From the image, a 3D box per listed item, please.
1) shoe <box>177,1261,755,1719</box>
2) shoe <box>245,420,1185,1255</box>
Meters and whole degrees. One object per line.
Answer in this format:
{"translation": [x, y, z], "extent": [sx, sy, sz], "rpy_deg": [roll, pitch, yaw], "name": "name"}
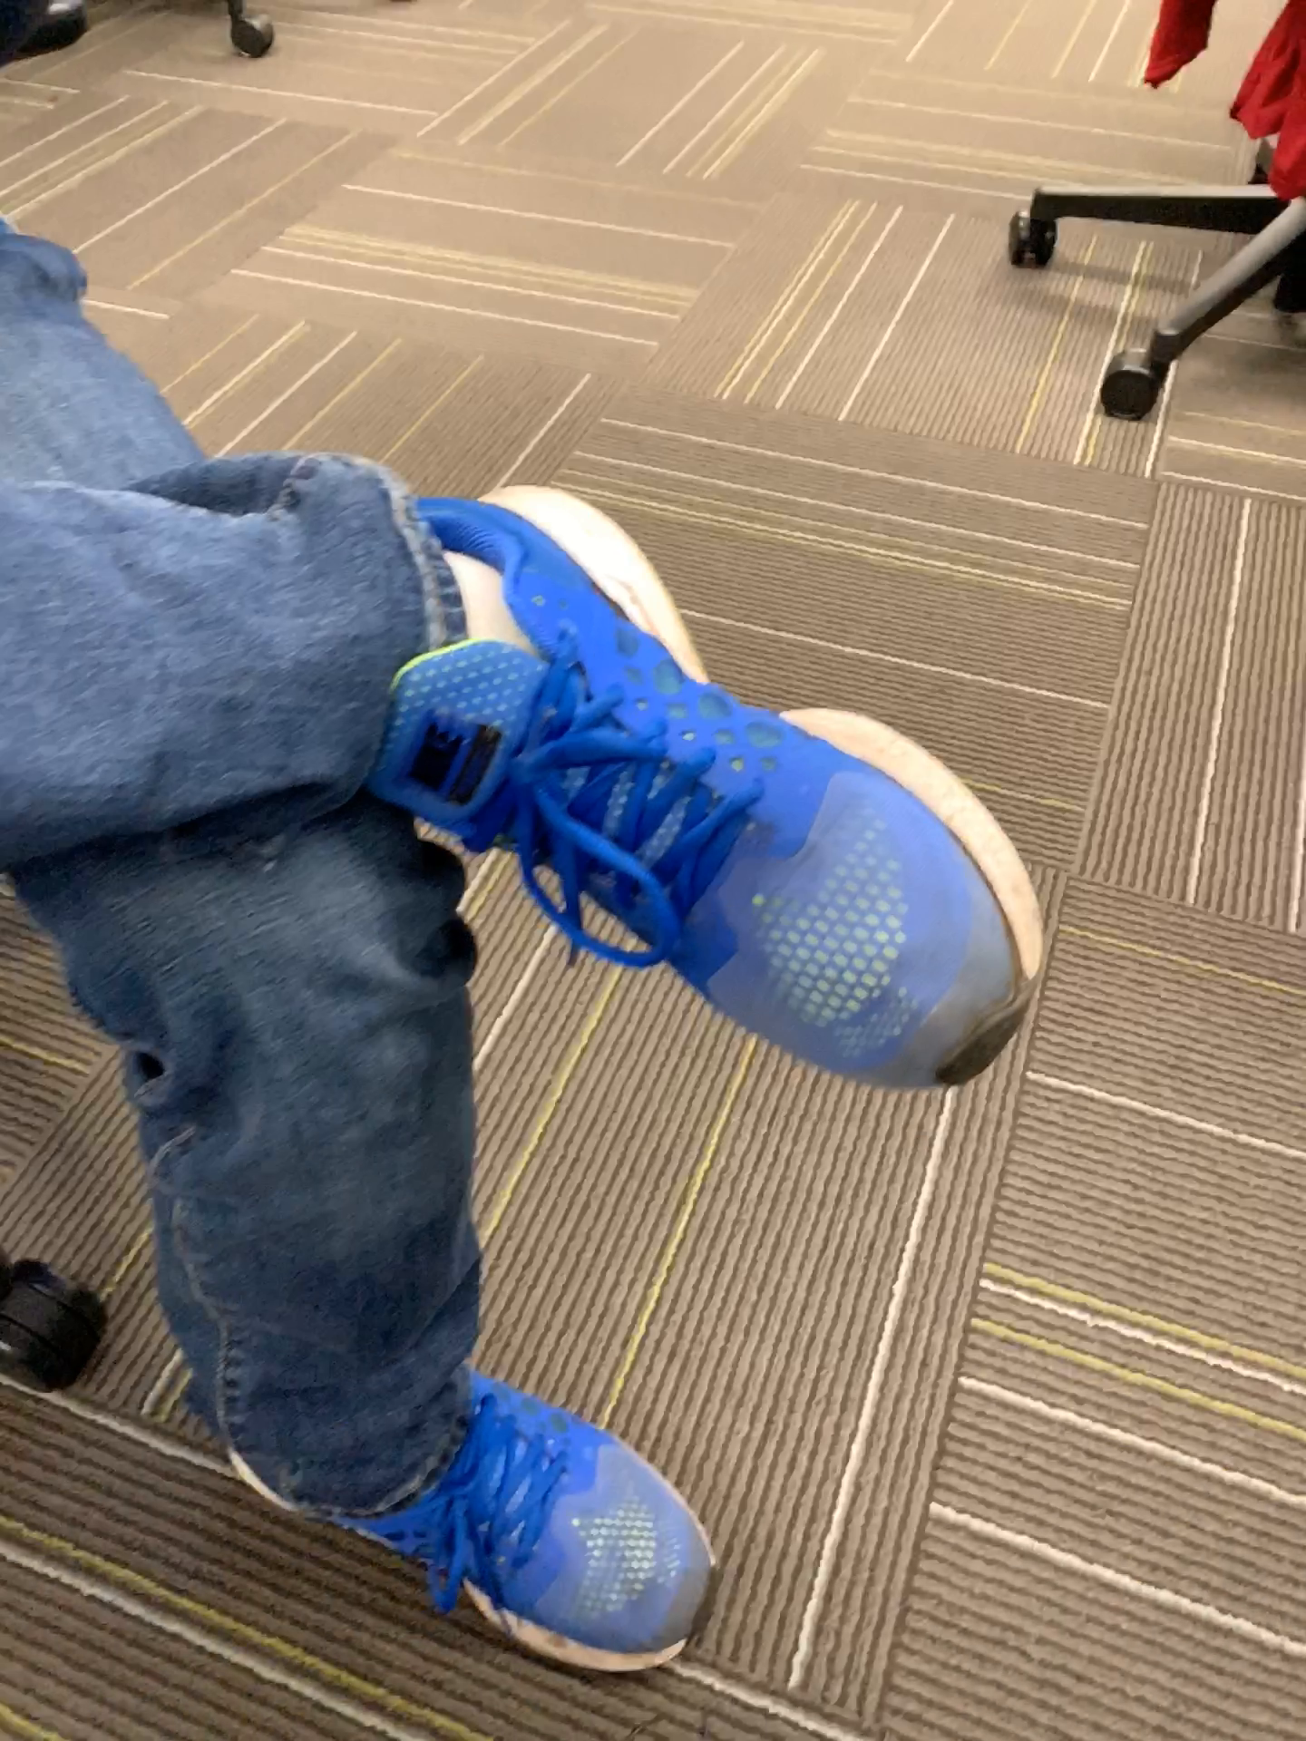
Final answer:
{"translation": [-0.098, 0.327, 0.723], "extent": [0.284, 0.086, 0.101], "rpy_deg": [18, 49, 16], "name": "shoe"}
{"translation": [-0.001, -0.032, 0.425], "extent": [0.276, 0.117, 0.103], "rpy_deg": [38, 33, 30], "name": "shoe"}
